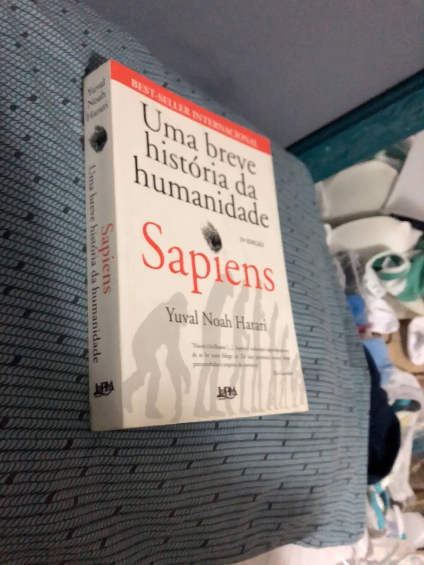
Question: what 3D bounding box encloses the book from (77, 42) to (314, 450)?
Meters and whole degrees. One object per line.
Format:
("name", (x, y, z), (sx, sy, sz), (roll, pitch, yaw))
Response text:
("book", (-0.009, -0.020, 0.332), (0.161, 0.040, 0.240), (11, 66, -44))
